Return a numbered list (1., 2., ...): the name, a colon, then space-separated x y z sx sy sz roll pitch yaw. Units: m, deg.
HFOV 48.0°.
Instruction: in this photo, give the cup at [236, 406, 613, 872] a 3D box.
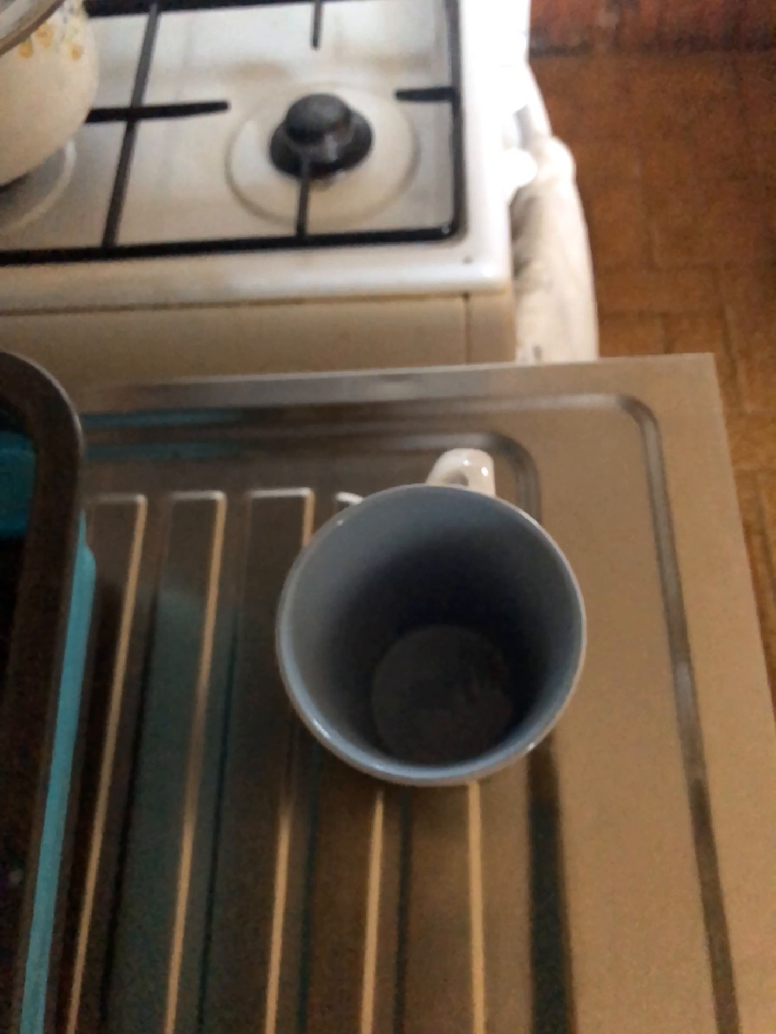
1. cup: 0.020 0.046 0.308 0.100 0.100 0.130 5 65 8
